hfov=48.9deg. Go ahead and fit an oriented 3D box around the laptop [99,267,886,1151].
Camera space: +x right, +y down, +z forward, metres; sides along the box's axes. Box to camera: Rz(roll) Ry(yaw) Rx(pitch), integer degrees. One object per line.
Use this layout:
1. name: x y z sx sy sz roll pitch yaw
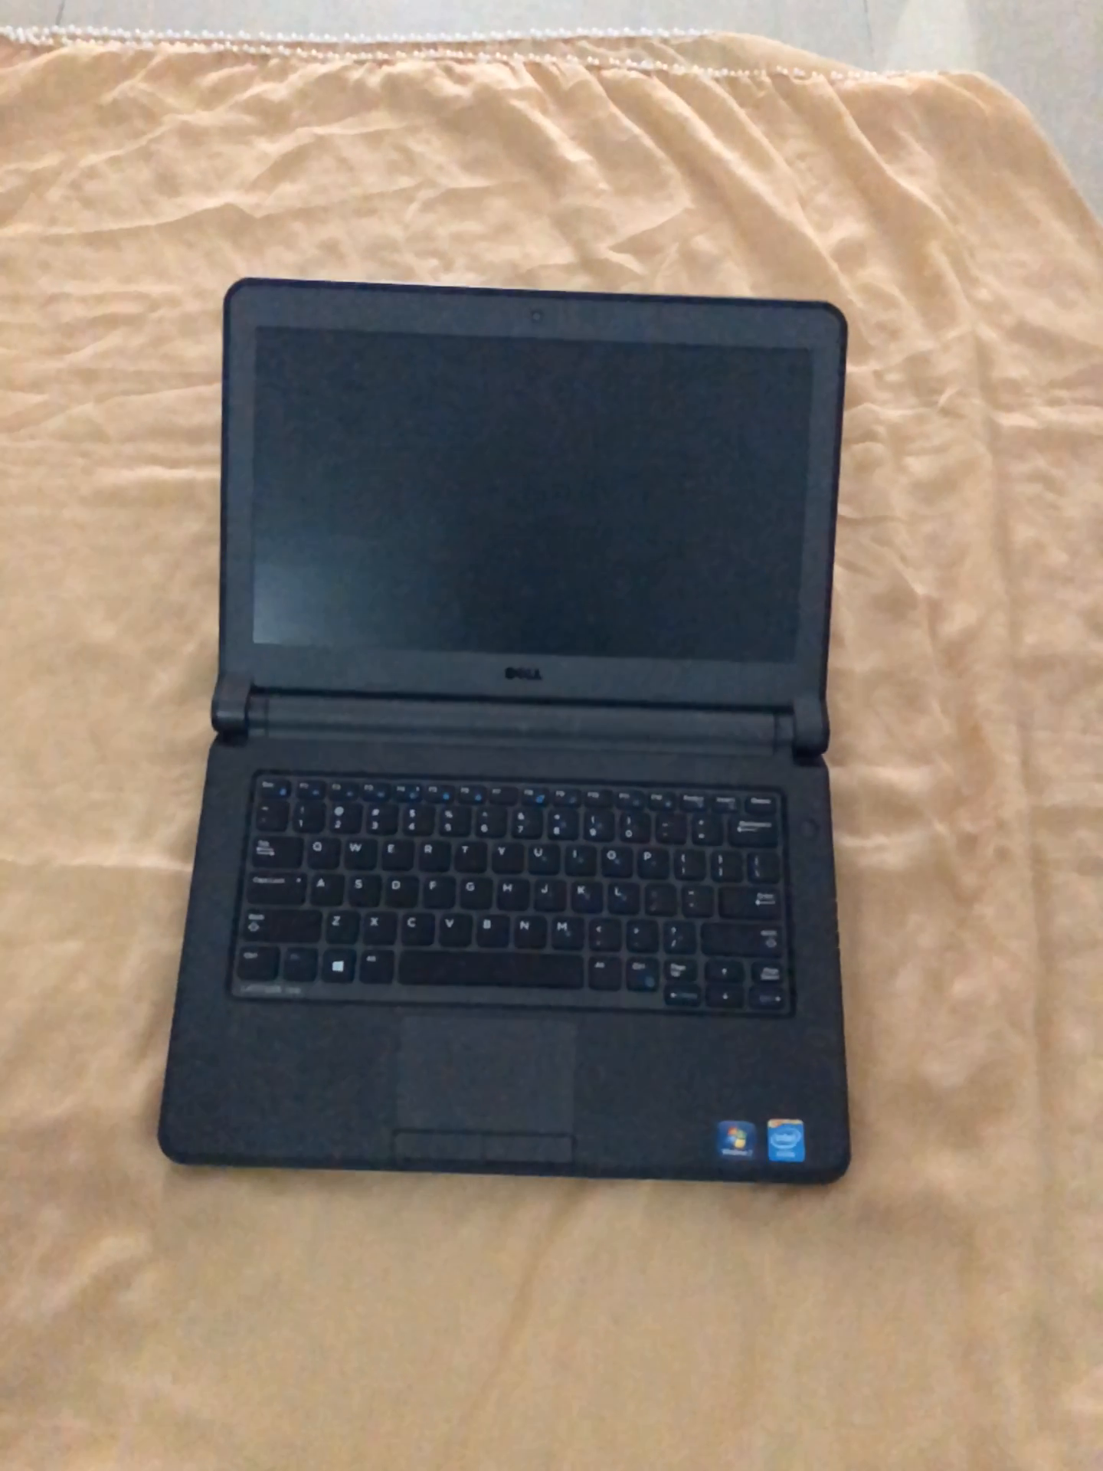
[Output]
1. laptop: -0.019 -0.022 0.590 0.308 0.092 0.410 2 70 -1
